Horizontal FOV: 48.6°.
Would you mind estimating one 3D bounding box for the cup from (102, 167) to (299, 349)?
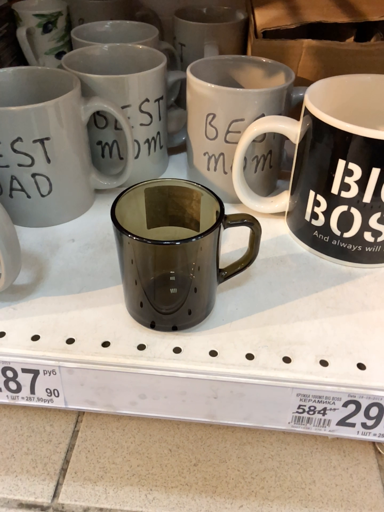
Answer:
[{"bbox_3d":[0.001,-0.003,0.295,0.105,0.074,0.082,-11,42,-15],"label":"cup"}]
